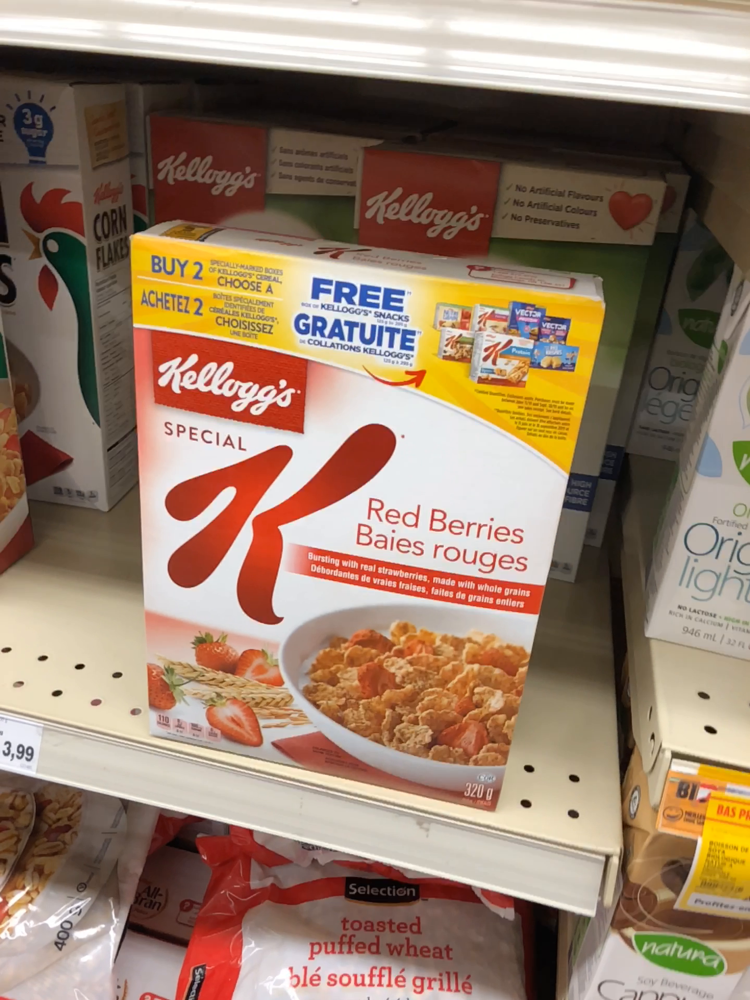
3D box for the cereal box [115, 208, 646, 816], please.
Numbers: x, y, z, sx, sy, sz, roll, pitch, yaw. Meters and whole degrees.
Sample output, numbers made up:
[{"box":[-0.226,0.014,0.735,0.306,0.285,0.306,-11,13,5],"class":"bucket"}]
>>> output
[{"box":[-0.007,0.014,0.370,0.190,0.248,0.050,10,29,9],"class":"cereal box"}]
